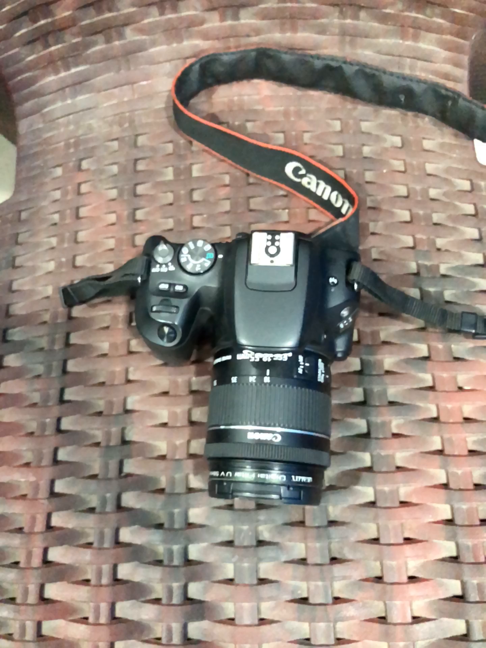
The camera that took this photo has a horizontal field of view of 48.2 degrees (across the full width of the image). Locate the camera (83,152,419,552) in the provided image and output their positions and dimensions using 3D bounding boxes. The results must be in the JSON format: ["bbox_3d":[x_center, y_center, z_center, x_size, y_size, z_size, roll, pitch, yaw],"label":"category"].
[{"bbox_3d":[0.010,0.013,0.292,0.140,0.110,0.170,2,82,5],"label":"camera"}]
